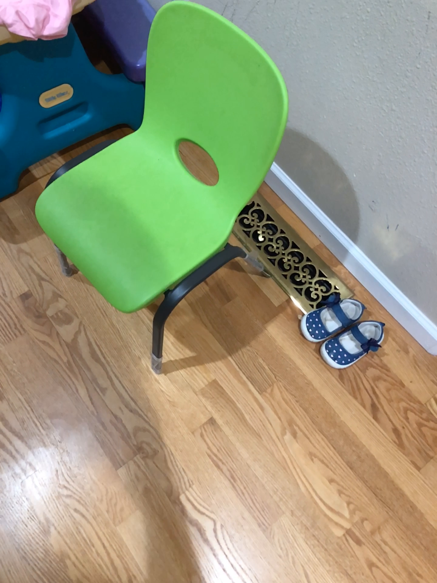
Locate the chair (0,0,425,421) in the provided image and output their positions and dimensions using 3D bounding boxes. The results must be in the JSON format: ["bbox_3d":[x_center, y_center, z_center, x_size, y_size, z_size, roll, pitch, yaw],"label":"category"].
[{"bbox_3d":[-0.082,-0.161,0.897,0.481,0.559,0.511,-39,73,-18],"label":"chair"}]
